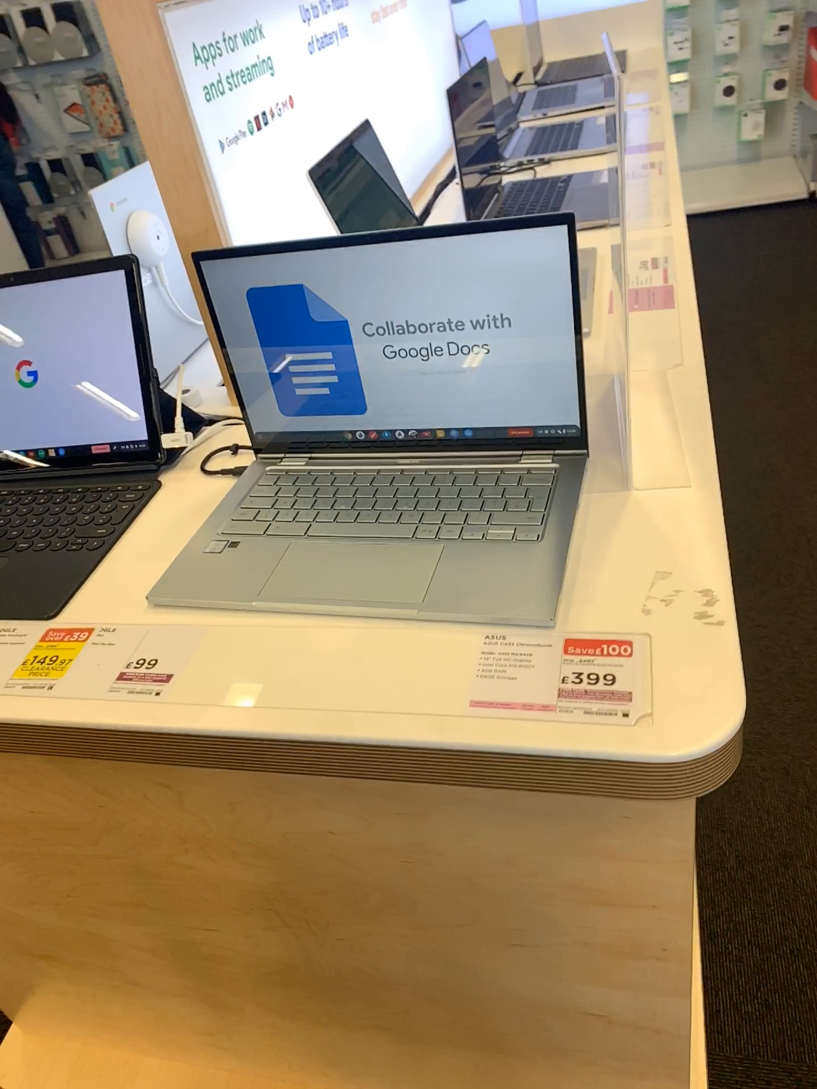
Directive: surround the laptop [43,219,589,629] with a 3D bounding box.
[{"bbox_3d":[-0.043,-0.091,0.620,0.317,0.195,0.205,1,38,20],"label":"laptop"}]
